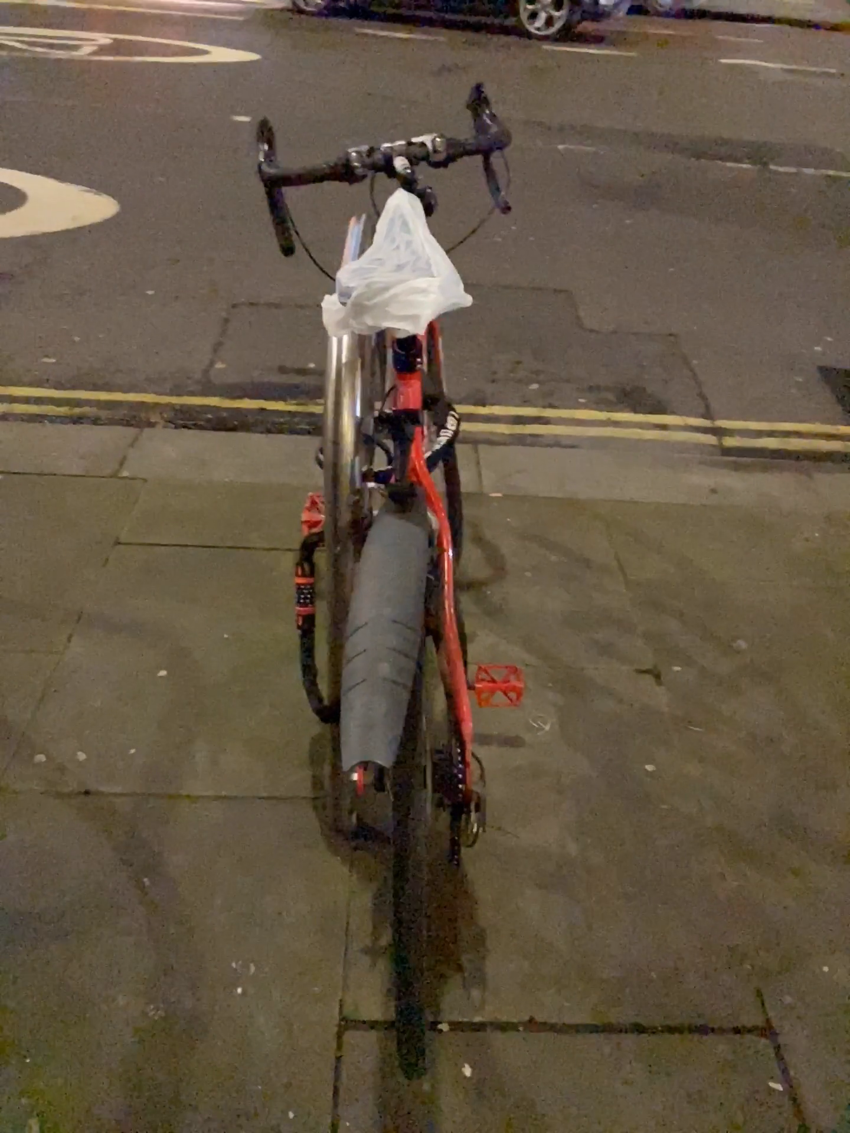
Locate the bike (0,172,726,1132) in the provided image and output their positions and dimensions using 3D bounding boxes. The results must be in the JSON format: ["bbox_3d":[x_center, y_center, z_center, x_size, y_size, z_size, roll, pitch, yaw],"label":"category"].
[{"bbox_3d":[-0.105,-0.078,1.555,0.537,0.810,1.670,0,36,-4],"label":"bike"}]
